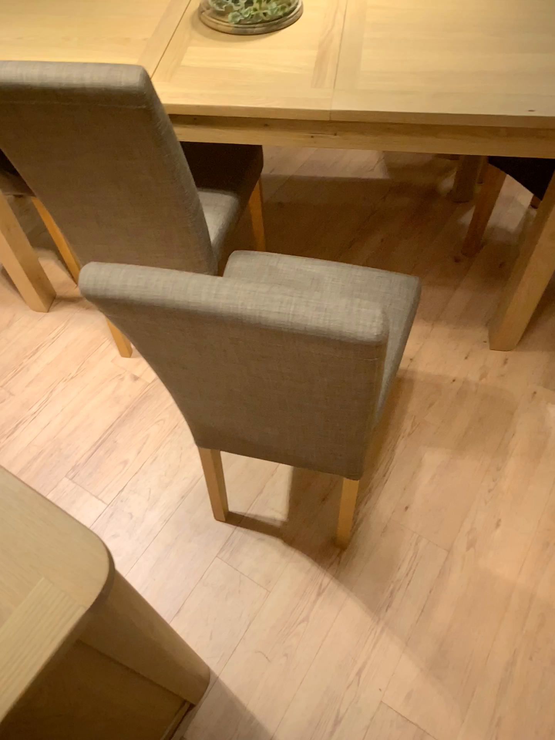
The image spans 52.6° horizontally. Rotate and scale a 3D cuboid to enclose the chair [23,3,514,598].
[{"bbox_3d":[0.065,-0.047,1.104,0.490,0.953,0.614,10,55,10],"label":"chair"}]
